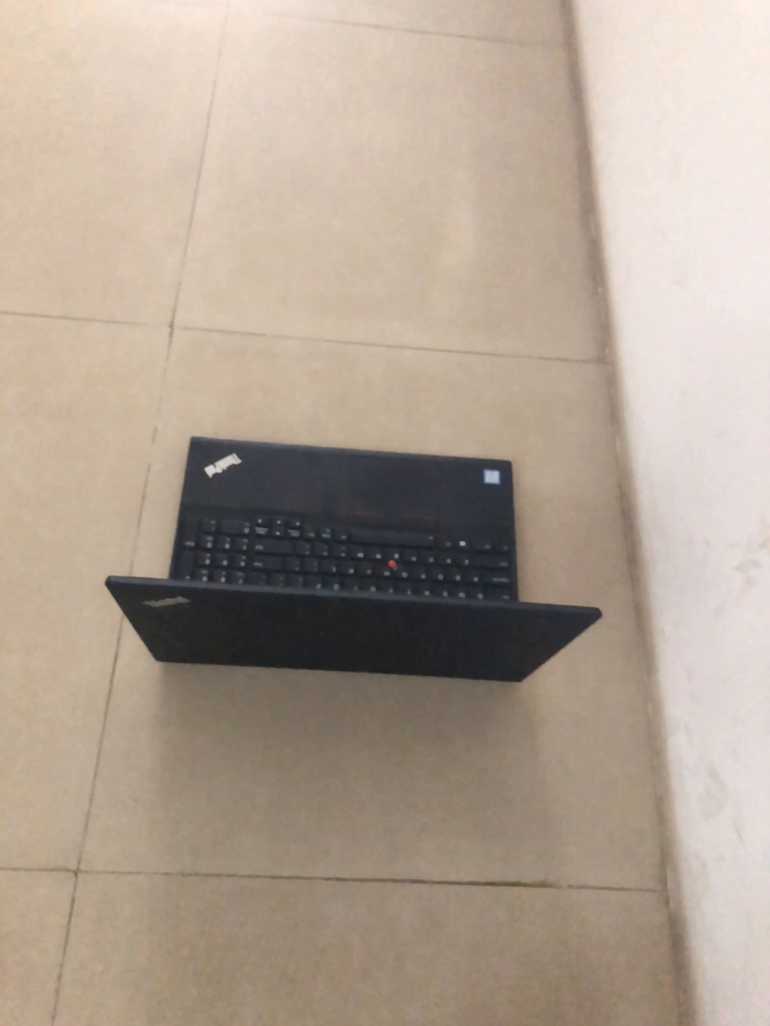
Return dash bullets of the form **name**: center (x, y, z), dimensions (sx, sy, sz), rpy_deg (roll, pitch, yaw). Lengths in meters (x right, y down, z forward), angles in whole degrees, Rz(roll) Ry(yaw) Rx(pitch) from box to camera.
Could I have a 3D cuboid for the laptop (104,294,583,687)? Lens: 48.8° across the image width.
- **laptop**: center (-0.031, -0.005, 0.788), dimensions (0.354, 0.241, 0.255), rpy_deg (5, 64, -5)
